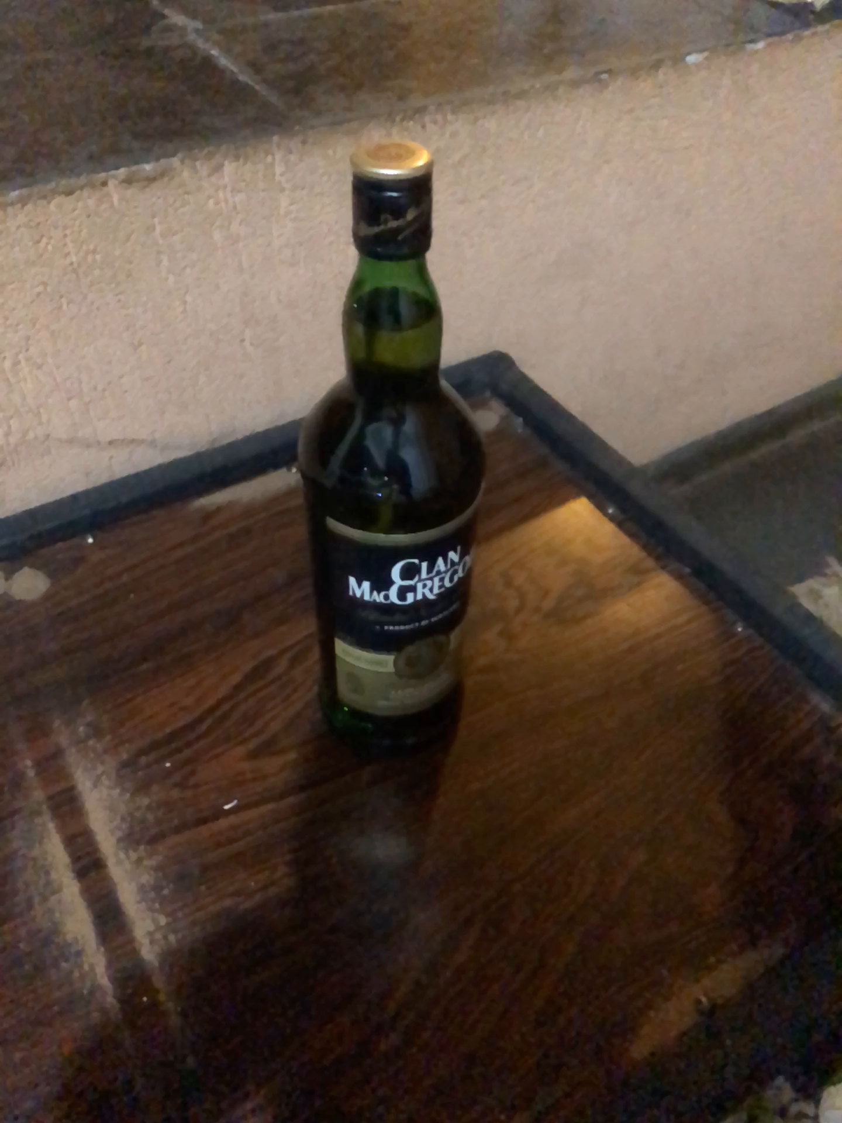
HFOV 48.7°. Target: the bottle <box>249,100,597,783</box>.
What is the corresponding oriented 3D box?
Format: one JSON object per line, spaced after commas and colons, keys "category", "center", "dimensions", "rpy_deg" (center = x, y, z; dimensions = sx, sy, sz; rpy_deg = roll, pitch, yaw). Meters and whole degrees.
{"category": "bottle", "center": [-0.005, -0.027, 0.420], "dimensions": [0.090, 0.308, 0.080], "rpy_deg": [-18, 50, -17]}
